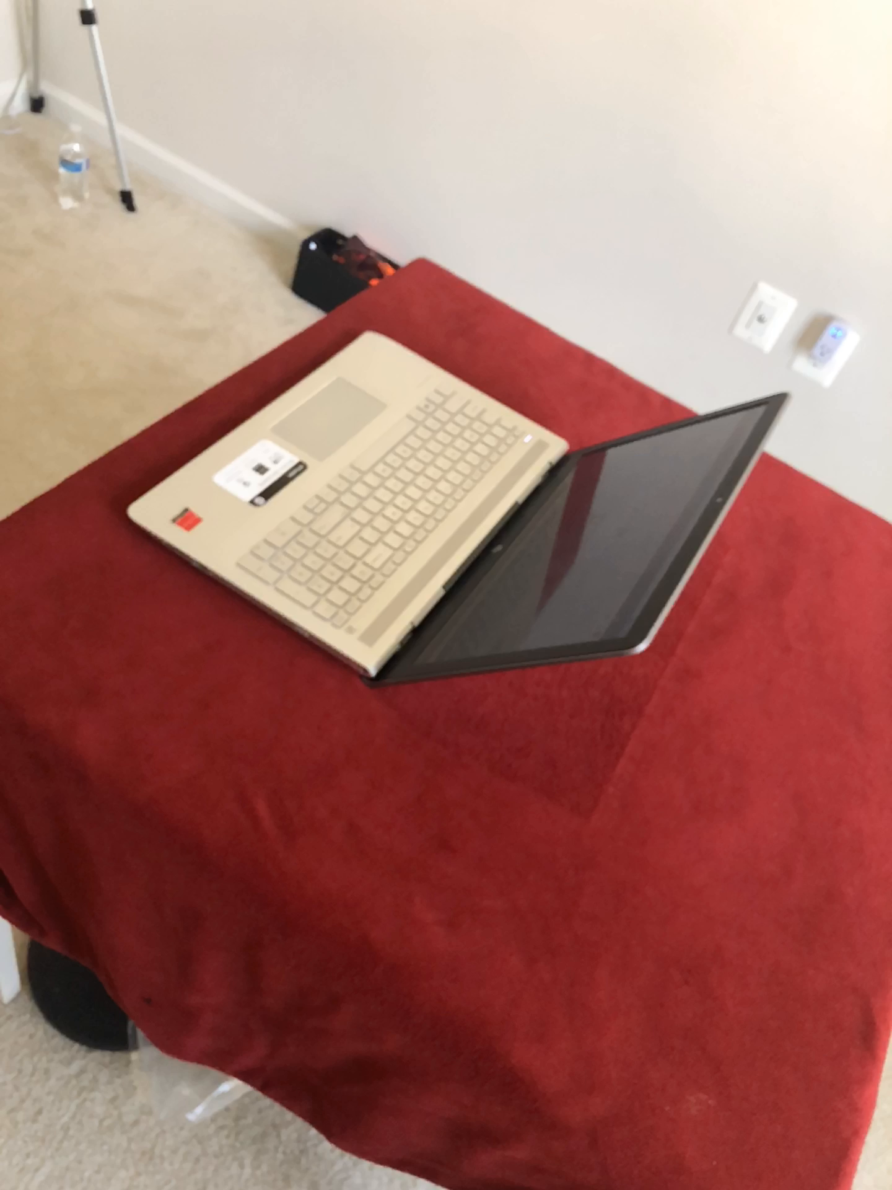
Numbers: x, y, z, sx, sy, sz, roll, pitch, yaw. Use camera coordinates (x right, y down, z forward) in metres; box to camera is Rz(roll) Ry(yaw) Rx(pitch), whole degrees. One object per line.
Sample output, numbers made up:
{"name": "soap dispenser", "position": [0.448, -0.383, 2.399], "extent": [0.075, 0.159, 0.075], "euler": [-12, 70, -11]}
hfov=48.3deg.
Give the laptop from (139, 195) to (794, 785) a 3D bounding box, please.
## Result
{"name": "laptop", "position": [0.026, -0.117, 0.827], "extent": [0.395, 0.158, 0.361], "euler": [32, 47, 10]}
